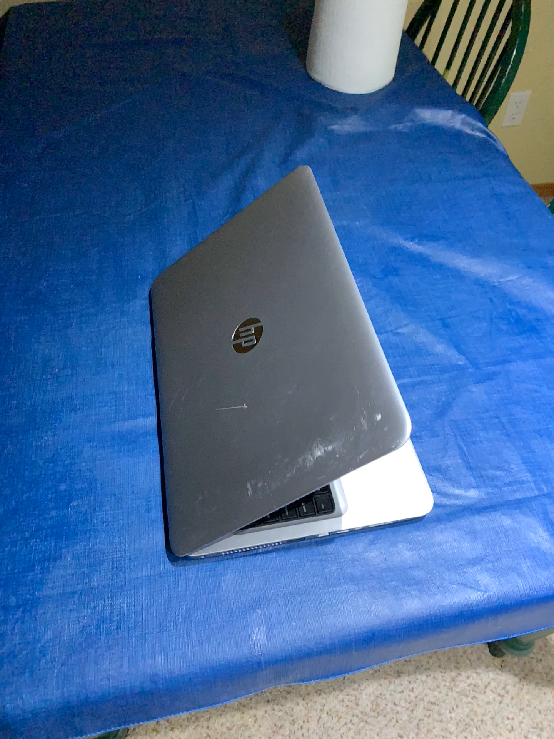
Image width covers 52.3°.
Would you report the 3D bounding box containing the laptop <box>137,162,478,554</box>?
[{"bbox_3d":[0.000,-0.035,0.599,0.253,0.156,0.368,-7,53,-8],"label":"laptop"}]
